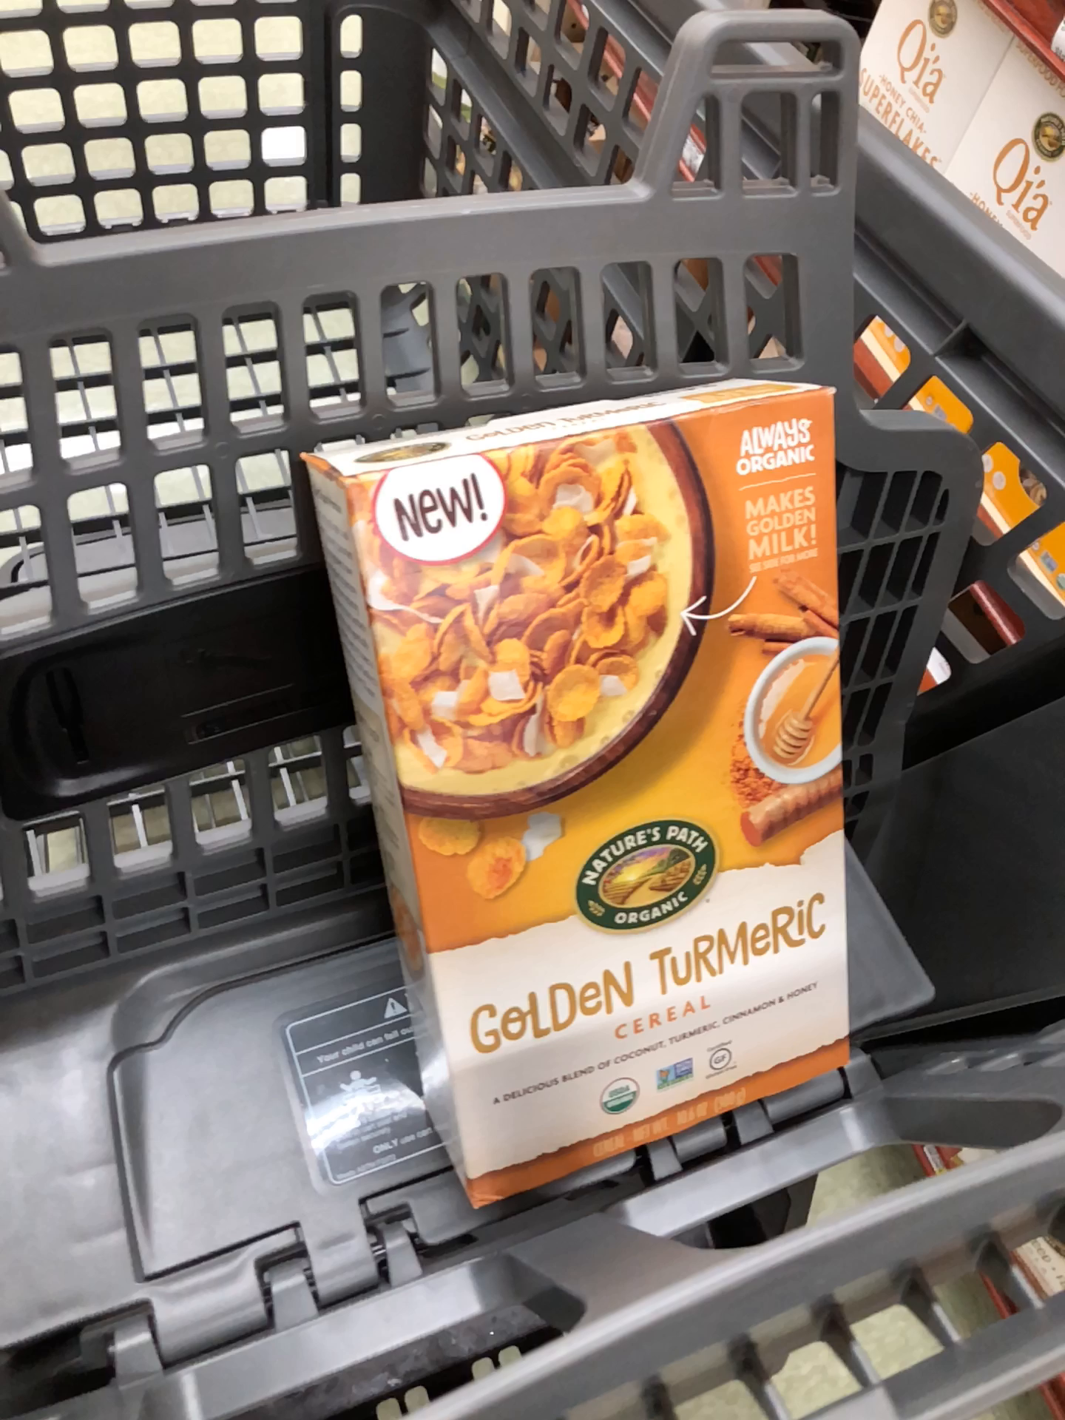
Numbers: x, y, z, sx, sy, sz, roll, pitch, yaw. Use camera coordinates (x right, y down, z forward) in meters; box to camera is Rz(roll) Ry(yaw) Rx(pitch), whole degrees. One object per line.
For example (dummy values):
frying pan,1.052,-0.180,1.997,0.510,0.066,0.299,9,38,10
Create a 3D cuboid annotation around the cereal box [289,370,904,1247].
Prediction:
cereal box,0.034,0.030,0.423,0.180,0.270,0.070,-14,20,-18
